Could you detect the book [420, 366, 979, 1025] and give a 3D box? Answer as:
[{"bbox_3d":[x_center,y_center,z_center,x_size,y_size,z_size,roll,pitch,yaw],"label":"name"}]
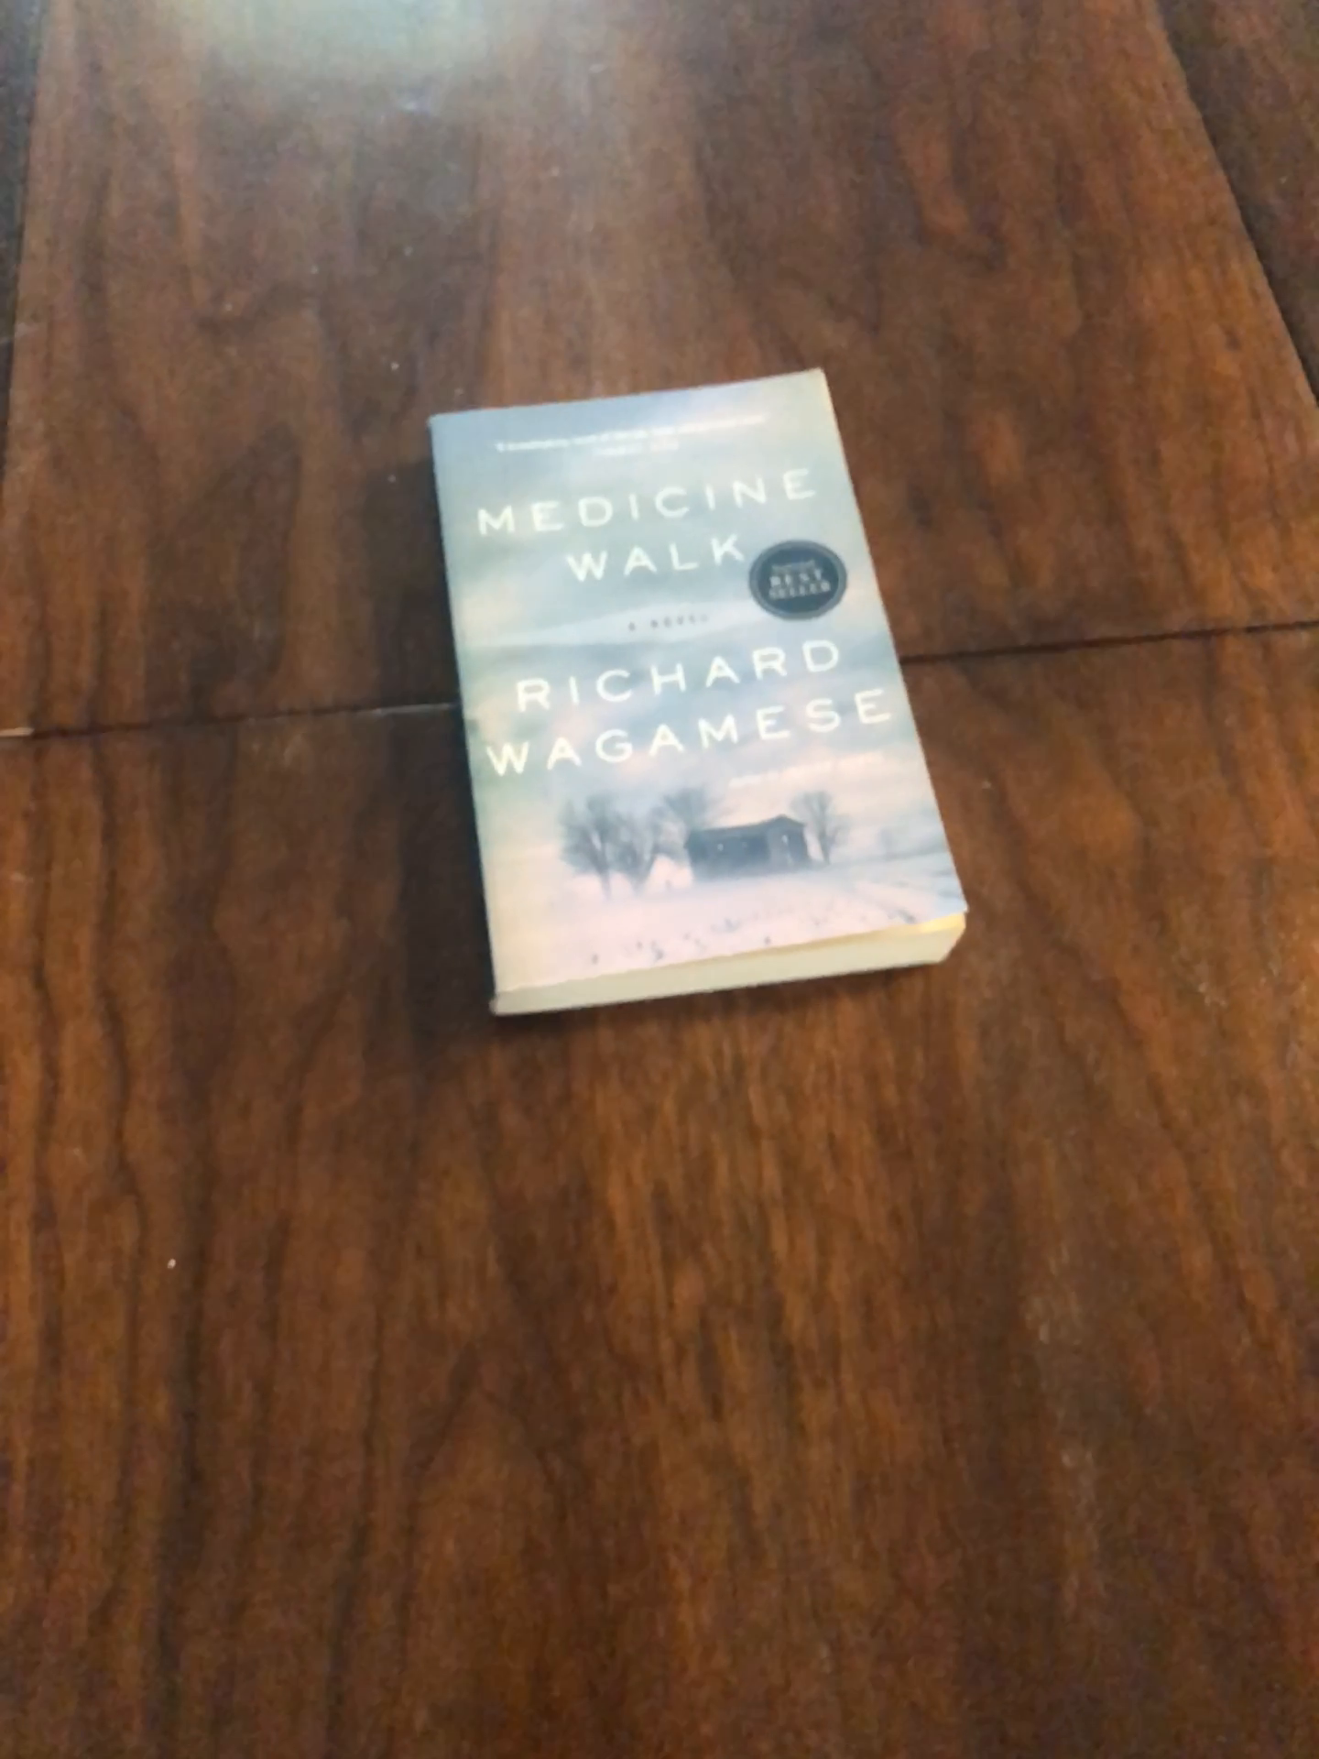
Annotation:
[{"bbox_3d":[0.005,-0.065,0.456,0.138,0.027,0.206,-7,65,-5],"label":"book"}]
